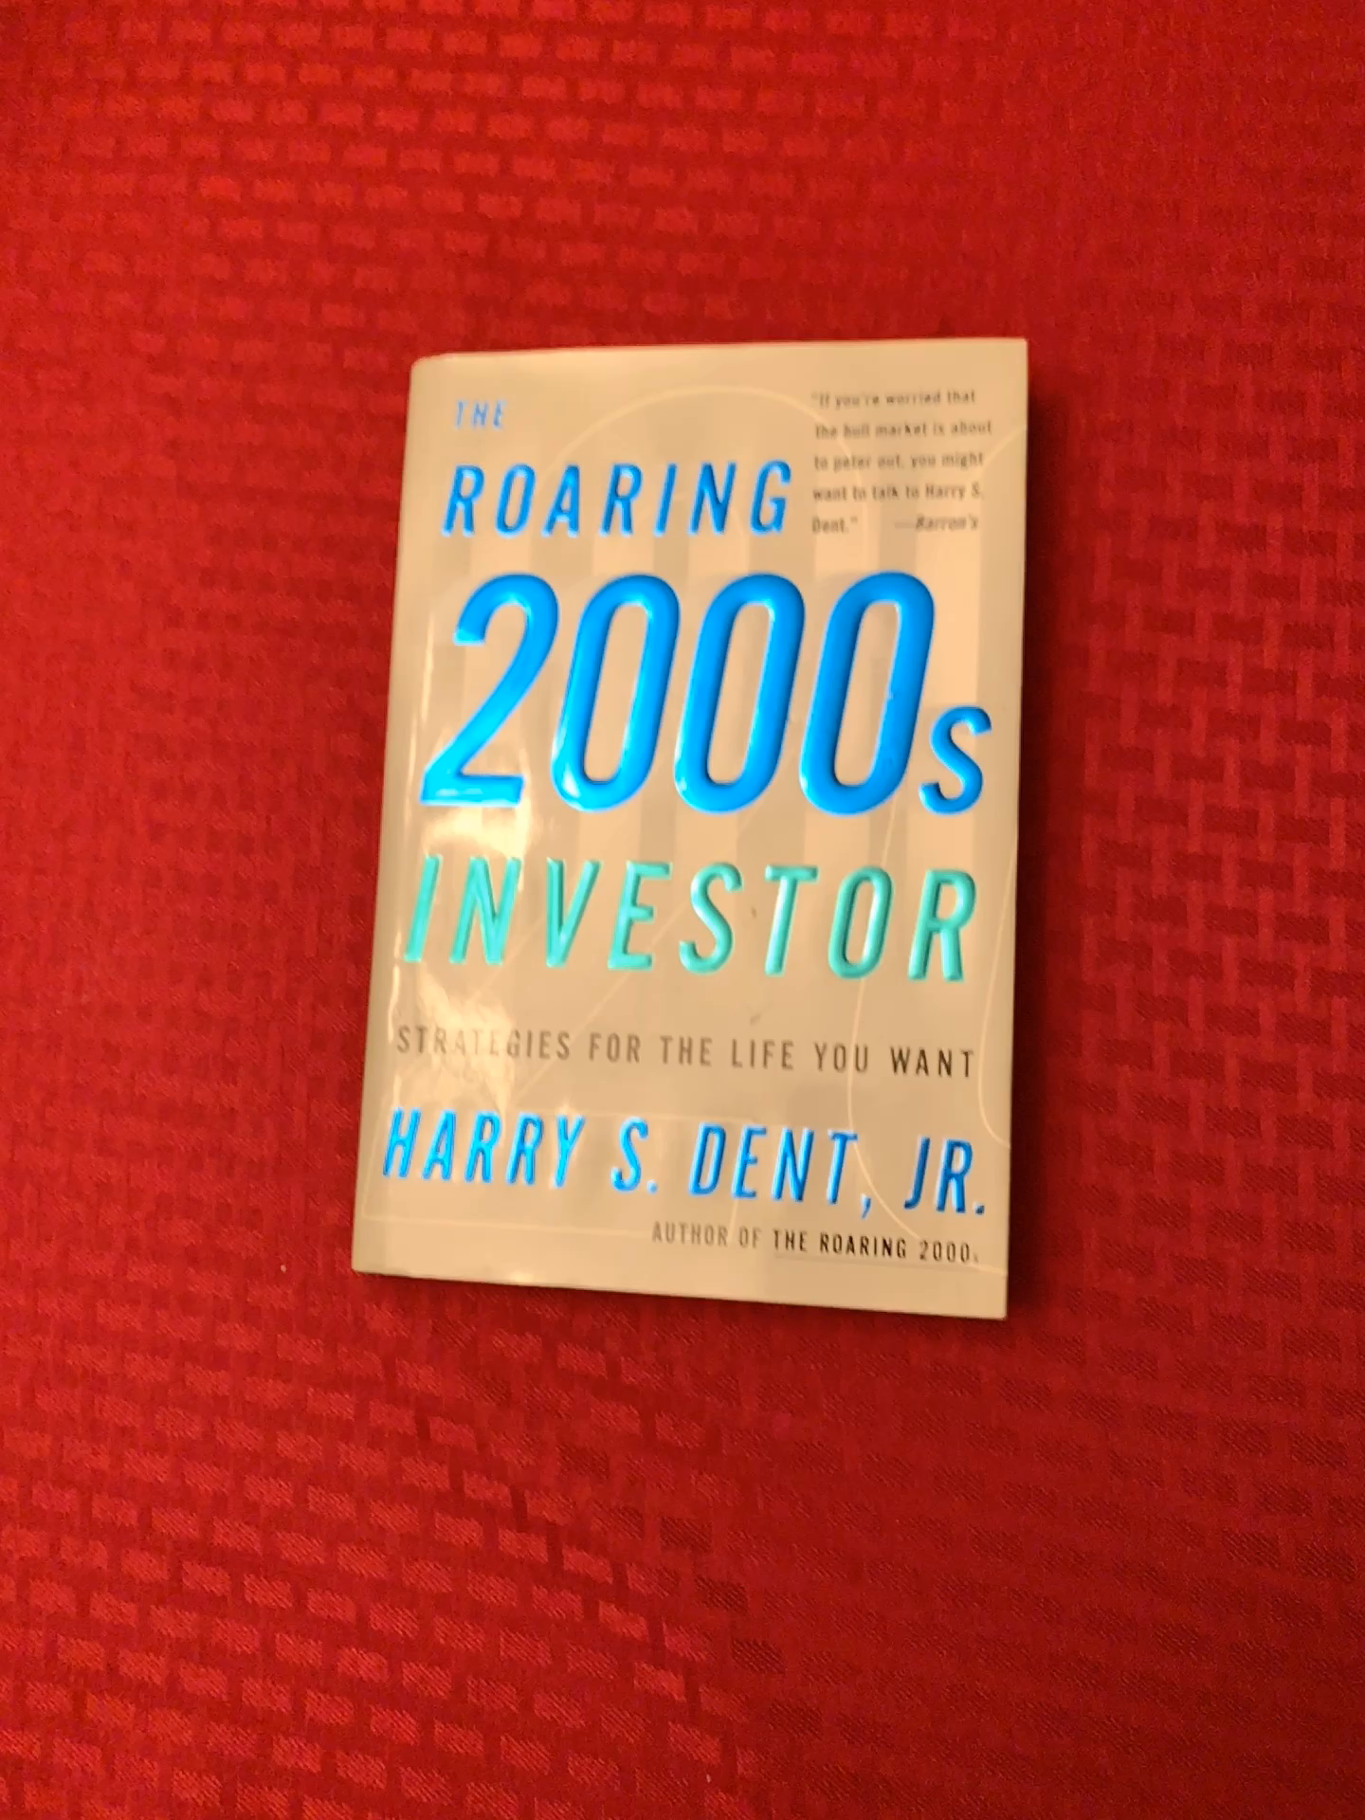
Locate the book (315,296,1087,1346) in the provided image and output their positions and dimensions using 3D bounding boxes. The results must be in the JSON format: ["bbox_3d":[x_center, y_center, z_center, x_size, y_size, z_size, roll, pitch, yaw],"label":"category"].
[{"bbox_3d":[0.008,-0.026,0.349,0.170,0.040,0.240,2,82,8],"label":"book"}]
